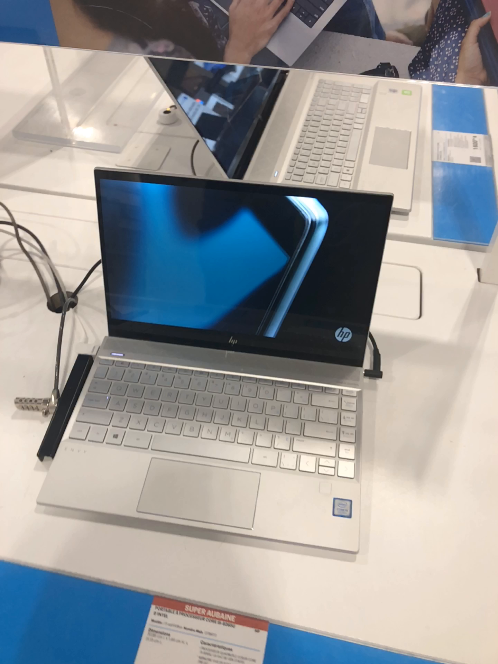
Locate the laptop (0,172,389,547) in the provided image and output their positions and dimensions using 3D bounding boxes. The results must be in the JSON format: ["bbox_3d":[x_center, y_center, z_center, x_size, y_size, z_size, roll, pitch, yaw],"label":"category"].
[{"bbox_3d":[-0.033,0.015,0.528,0.298,0.182,0.273,6,49,6],"label":"laptop"}]
